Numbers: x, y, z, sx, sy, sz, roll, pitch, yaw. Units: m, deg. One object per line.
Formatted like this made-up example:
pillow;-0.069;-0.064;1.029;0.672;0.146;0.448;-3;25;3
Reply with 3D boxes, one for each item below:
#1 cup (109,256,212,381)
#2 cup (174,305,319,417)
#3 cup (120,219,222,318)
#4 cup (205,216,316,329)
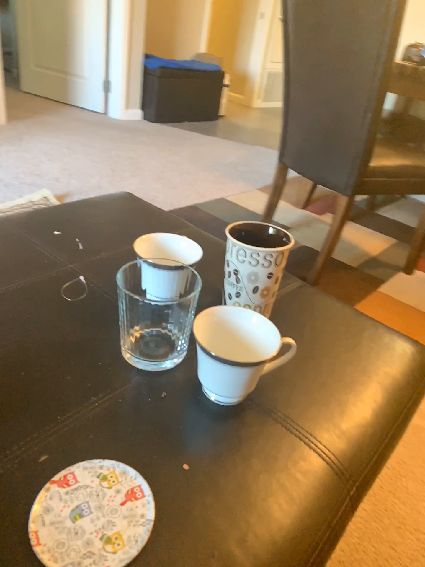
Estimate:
cup;-0.067;0.038;0.502;0.100;0.099;0.101;7;31;-4
cup;0.028;0.076;0.455;0.120;0.060;0.101;1;32;-15
cup;-0.054;-0.025;0.584;0.090;0.070;0.111;19;32;15
cup;0.056;-0.015;0.572;0.100;0.109;0.101;7;31;-4
